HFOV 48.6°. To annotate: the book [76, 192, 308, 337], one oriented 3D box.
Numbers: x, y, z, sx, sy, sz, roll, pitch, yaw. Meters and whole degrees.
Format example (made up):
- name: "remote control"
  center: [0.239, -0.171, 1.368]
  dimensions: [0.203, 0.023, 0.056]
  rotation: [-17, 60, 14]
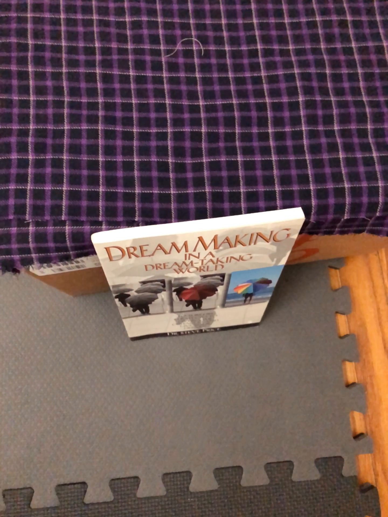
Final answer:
- name: "book"
  center: [-0.001, 0.021, 0.379]
  dimensions: [0.150, 0.220, 0.020]
  rotation: [-4, 63, -2]
